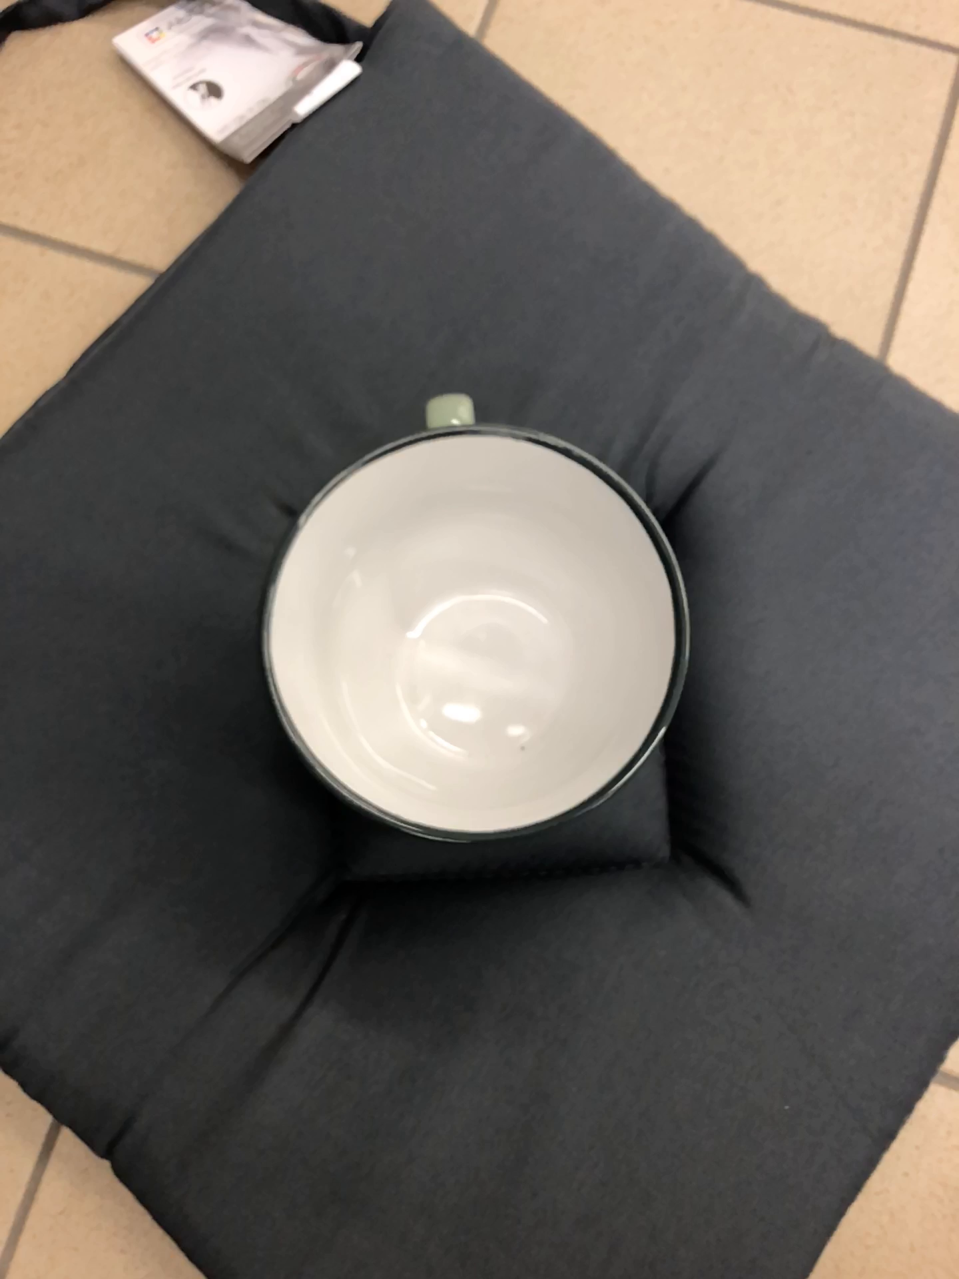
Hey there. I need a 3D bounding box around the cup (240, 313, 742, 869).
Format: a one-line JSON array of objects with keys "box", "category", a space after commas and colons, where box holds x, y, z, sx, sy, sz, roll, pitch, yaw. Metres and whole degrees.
[{"box": [0.001, -0.009, 0.317, 0.120, 0.070, 0.140, -6, 78, 1], "category": "cup"}]
